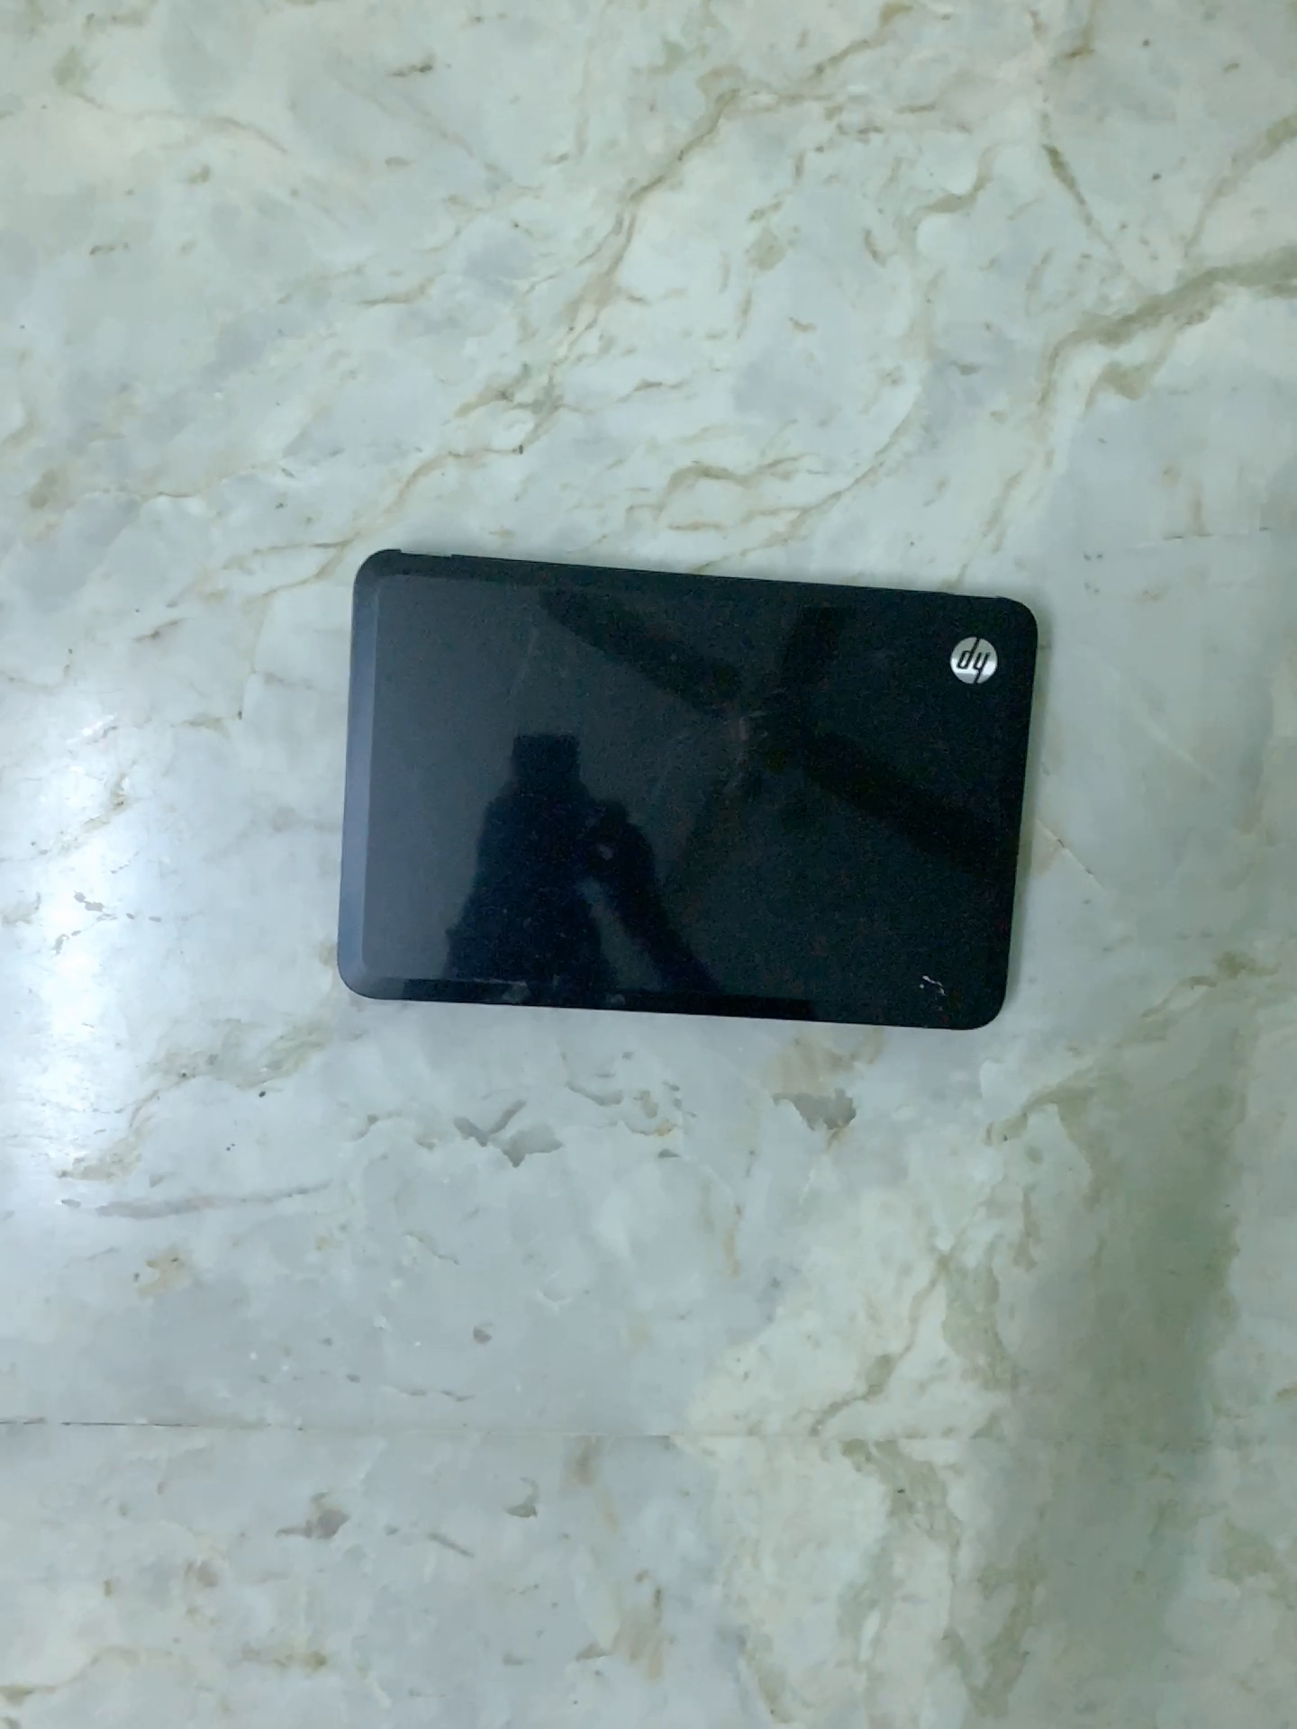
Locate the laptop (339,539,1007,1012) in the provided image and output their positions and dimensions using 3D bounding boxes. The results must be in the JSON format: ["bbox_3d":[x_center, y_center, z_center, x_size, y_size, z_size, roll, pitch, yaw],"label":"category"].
[{"bbox_3d":[0.016,-0.046,0.690,0.333,0.022,0.222,4,87,-3],"label":"laptop"}]
